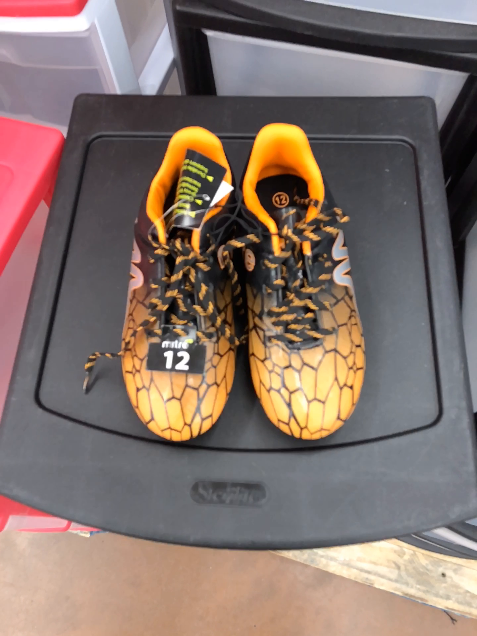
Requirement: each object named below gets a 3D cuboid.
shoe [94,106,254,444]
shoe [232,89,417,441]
[{"bbox_3d":[-0.034,-0.027,0.342,0.080,0.080,0.200,-2,68,2],"label":"shoe"},{"bbox_3d":[0.042,-0.034,0.322,0.080,0.070,0.200,-3,68,1],"label":"shoe"}]
